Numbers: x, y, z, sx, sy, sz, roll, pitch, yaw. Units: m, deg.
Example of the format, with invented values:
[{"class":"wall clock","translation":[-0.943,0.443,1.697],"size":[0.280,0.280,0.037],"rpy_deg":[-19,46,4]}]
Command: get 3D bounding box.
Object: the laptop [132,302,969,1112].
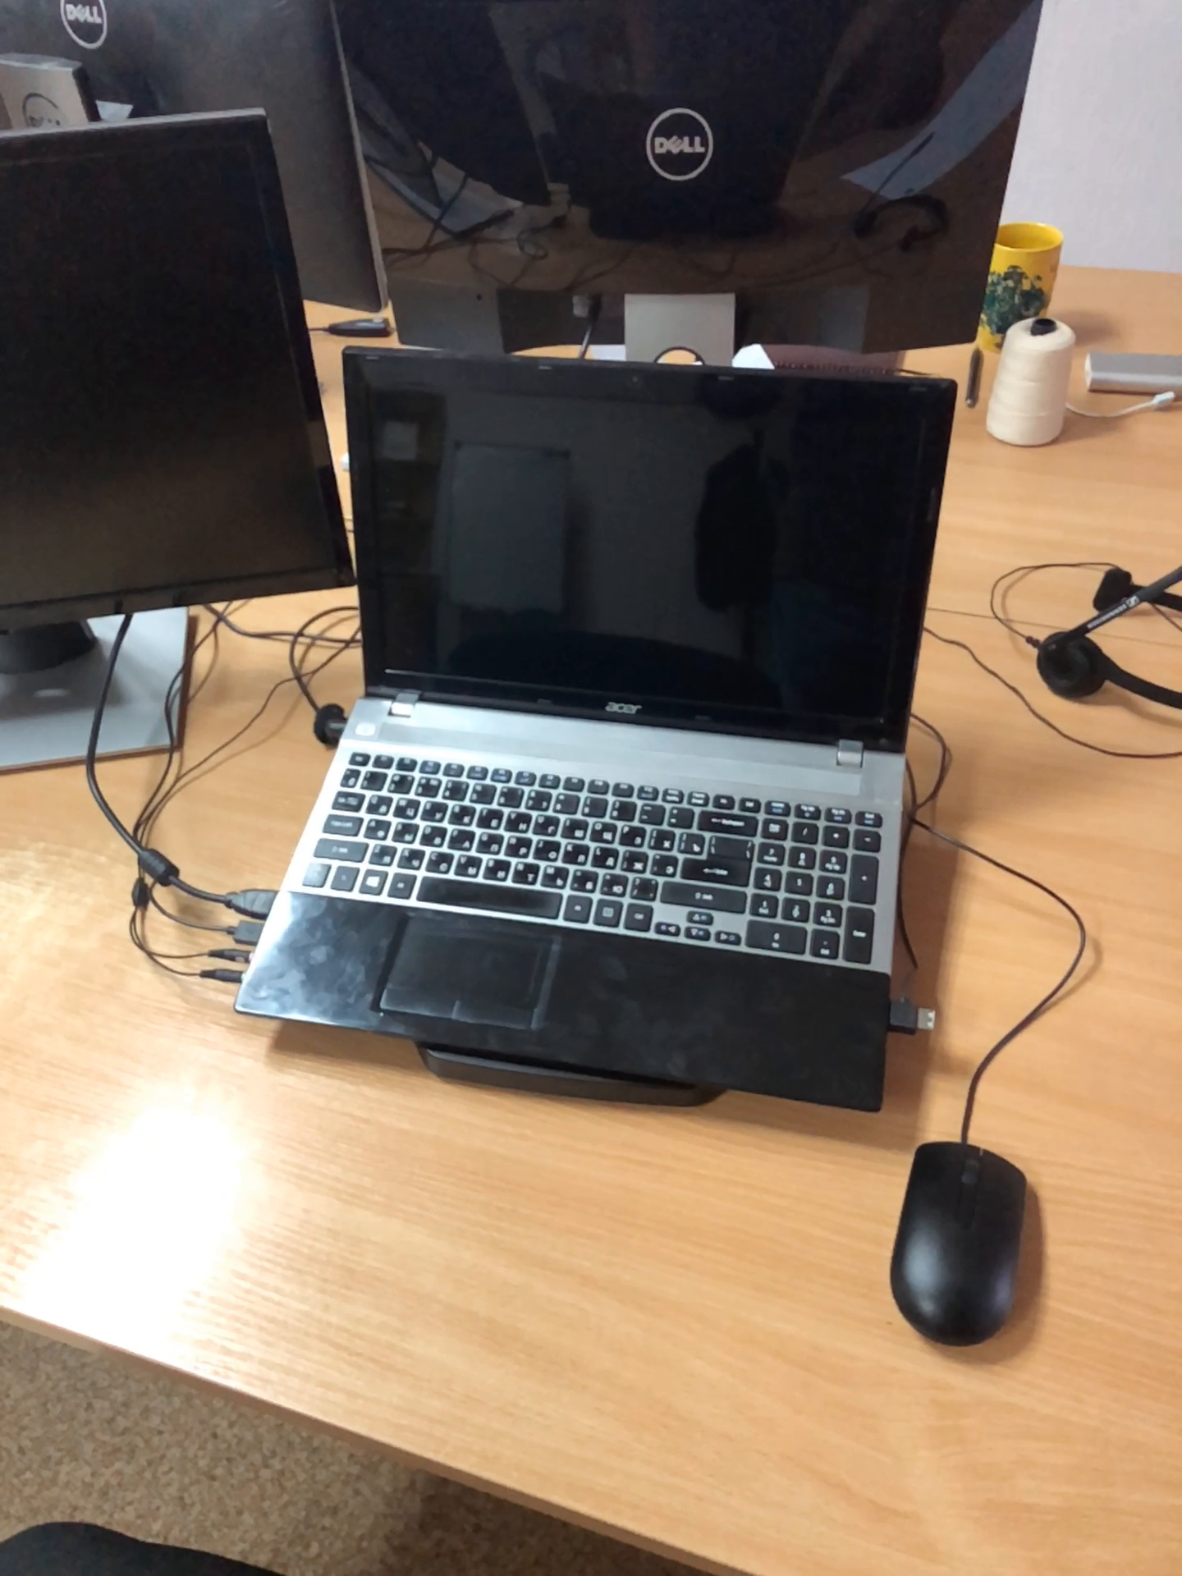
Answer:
[{"class":"laptop","translation":[0.005,-0.067,0.754],"size":[0.370,0.215,0.353],"rpy_deg":[7,51,11]}]
